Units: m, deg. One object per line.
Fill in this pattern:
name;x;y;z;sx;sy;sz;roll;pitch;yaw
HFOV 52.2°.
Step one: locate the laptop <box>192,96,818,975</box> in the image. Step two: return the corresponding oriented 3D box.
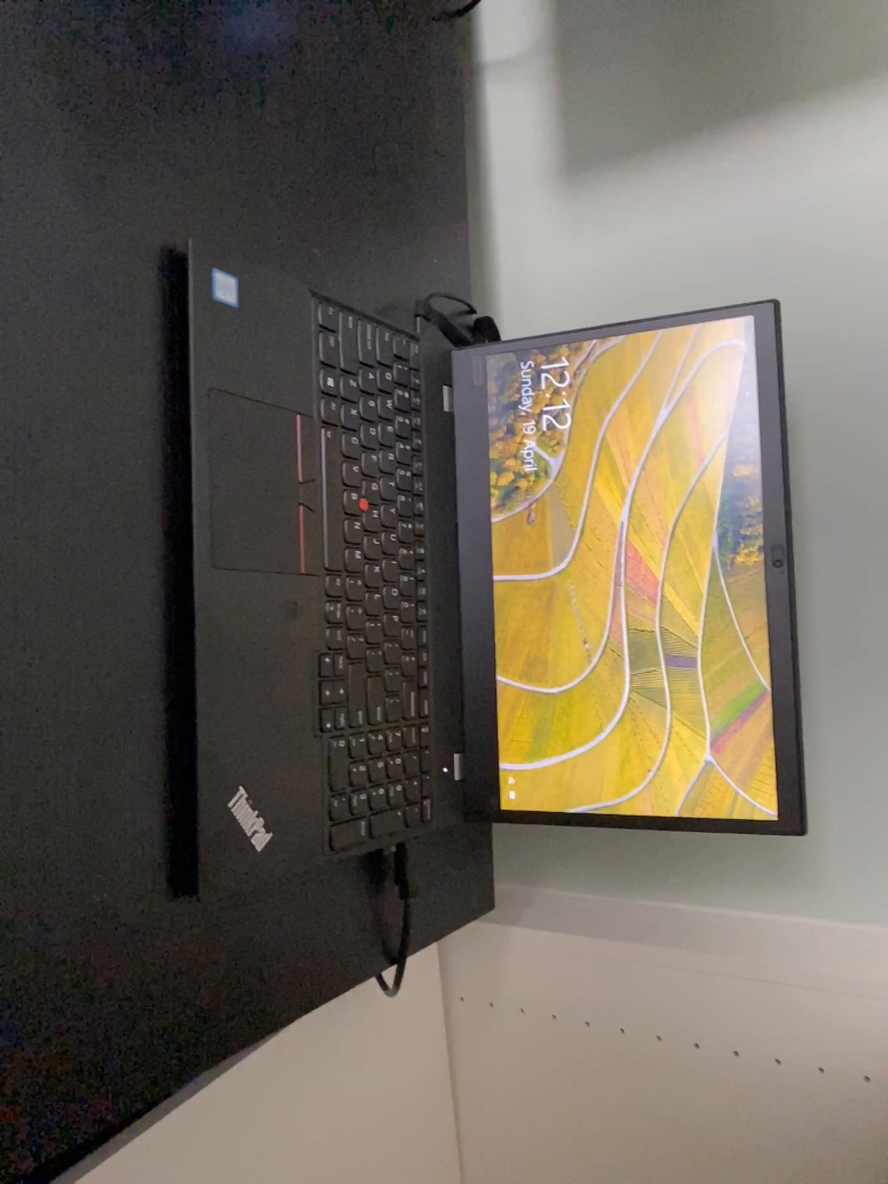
laptop;0.053;-0.015;0.540;0.295;0.231;0.351;4;82;-56
